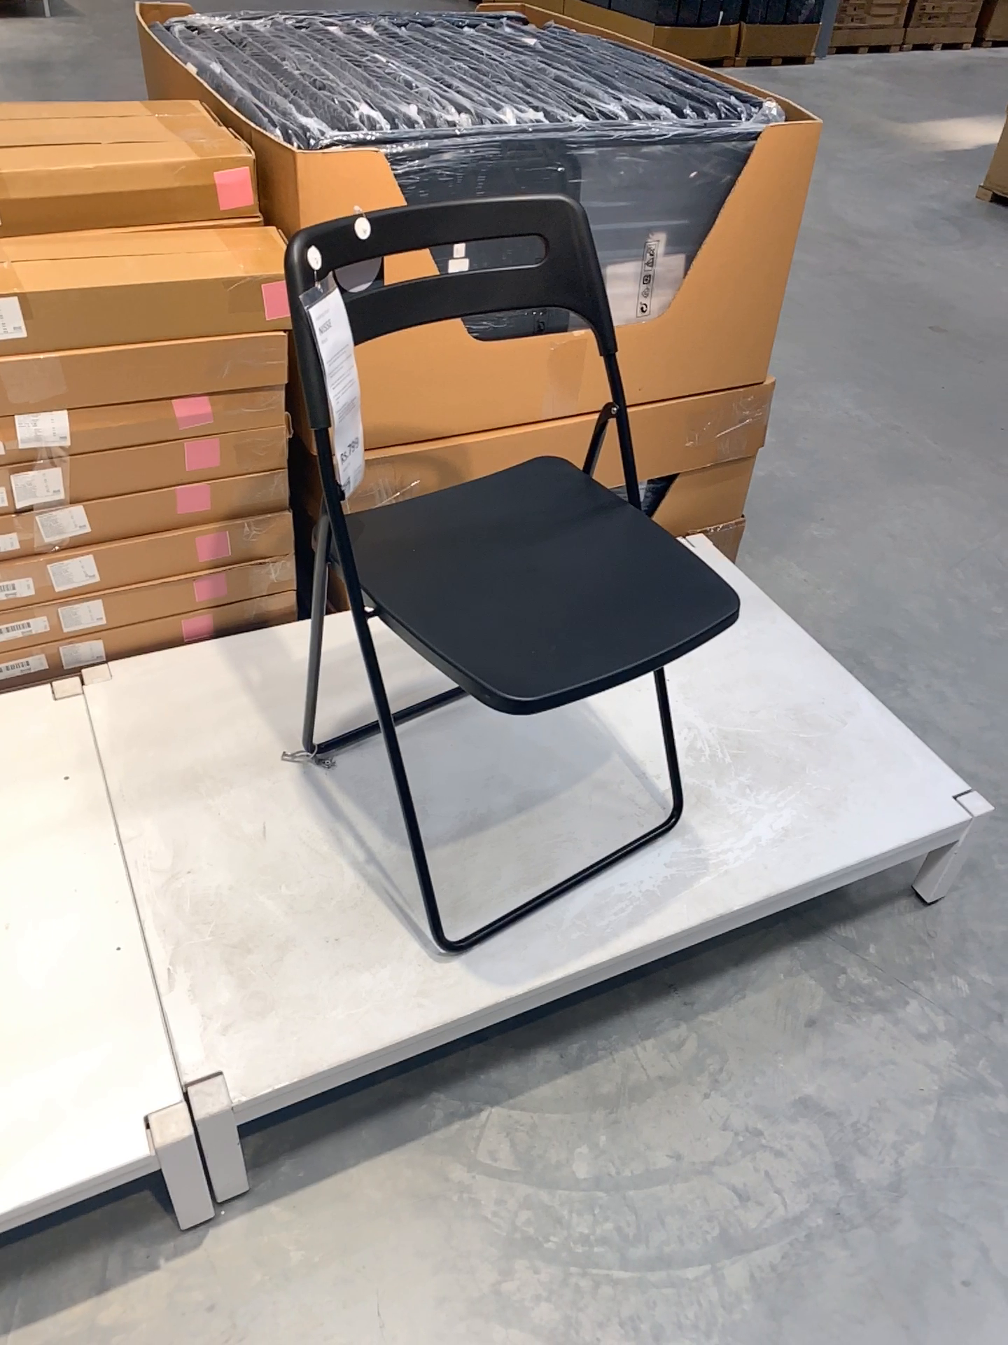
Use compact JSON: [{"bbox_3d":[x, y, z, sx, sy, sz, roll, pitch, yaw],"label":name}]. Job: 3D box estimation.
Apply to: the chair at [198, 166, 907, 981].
[{"bbox_3d":[0.016,-0.122,1.134,0.461,0.657,0.451,-23,48,-29],"label":"chair"}]
